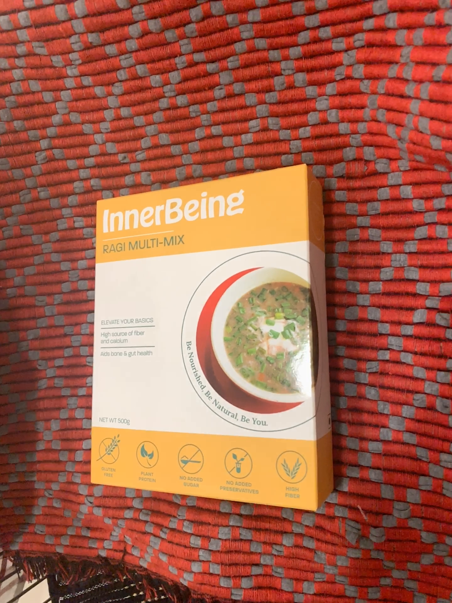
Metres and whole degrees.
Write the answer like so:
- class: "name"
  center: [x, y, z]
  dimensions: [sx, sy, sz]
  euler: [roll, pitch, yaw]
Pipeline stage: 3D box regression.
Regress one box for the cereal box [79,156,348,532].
- class: "cereal box"
  center: [-0.008, 0.025, 0.299]
  dimensions: [0.150, 0.070, 0.190]
  euler: [-3, 82, 24]
